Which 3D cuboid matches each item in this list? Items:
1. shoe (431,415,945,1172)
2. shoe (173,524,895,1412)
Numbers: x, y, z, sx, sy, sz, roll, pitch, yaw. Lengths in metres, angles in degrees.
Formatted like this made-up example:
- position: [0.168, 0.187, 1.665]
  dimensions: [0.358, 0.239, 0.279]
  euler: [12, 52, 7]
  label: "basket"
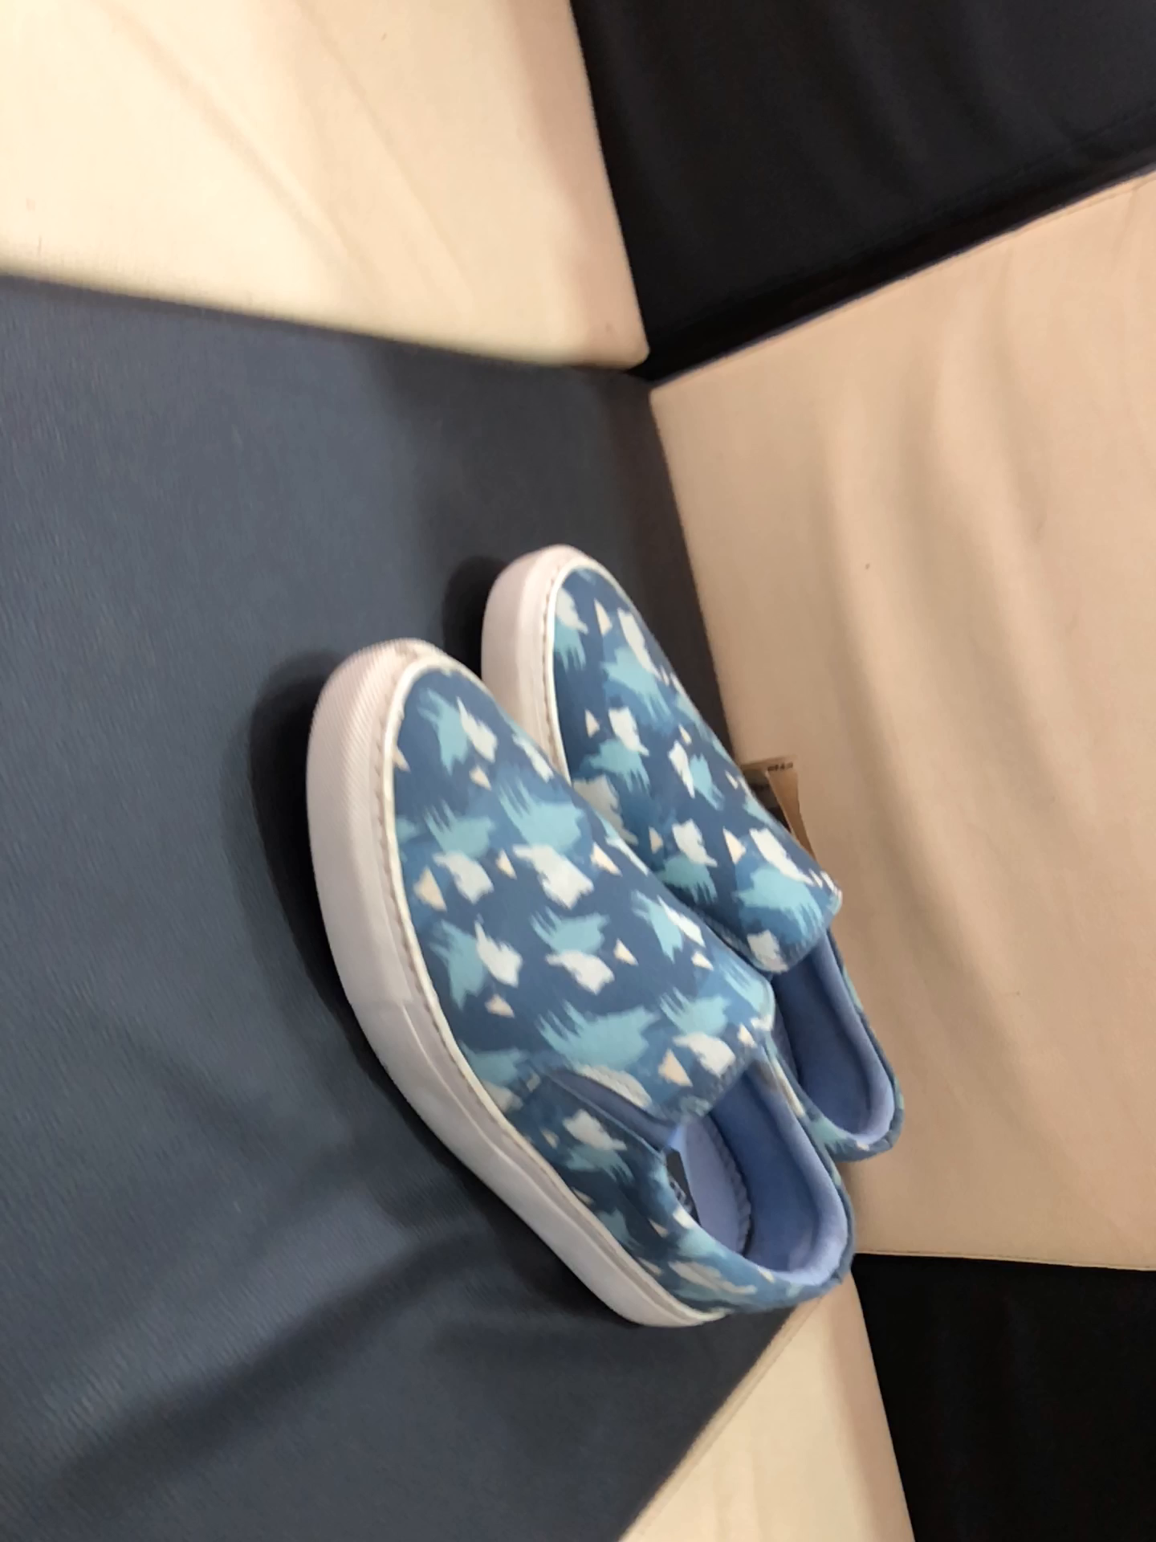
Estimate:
- position: [0.059, 0.019, 0.503]
  dimensions: [0.281, 0.060, 0.111]
  euler: [61, 39, -24]
  label: "shoe"
- position: [0.006, 0.076, 0.442]
  dimensions: [0.281, 0.089, 0.121]
  euler: [61, 39, -24]
  label: "shoe"
